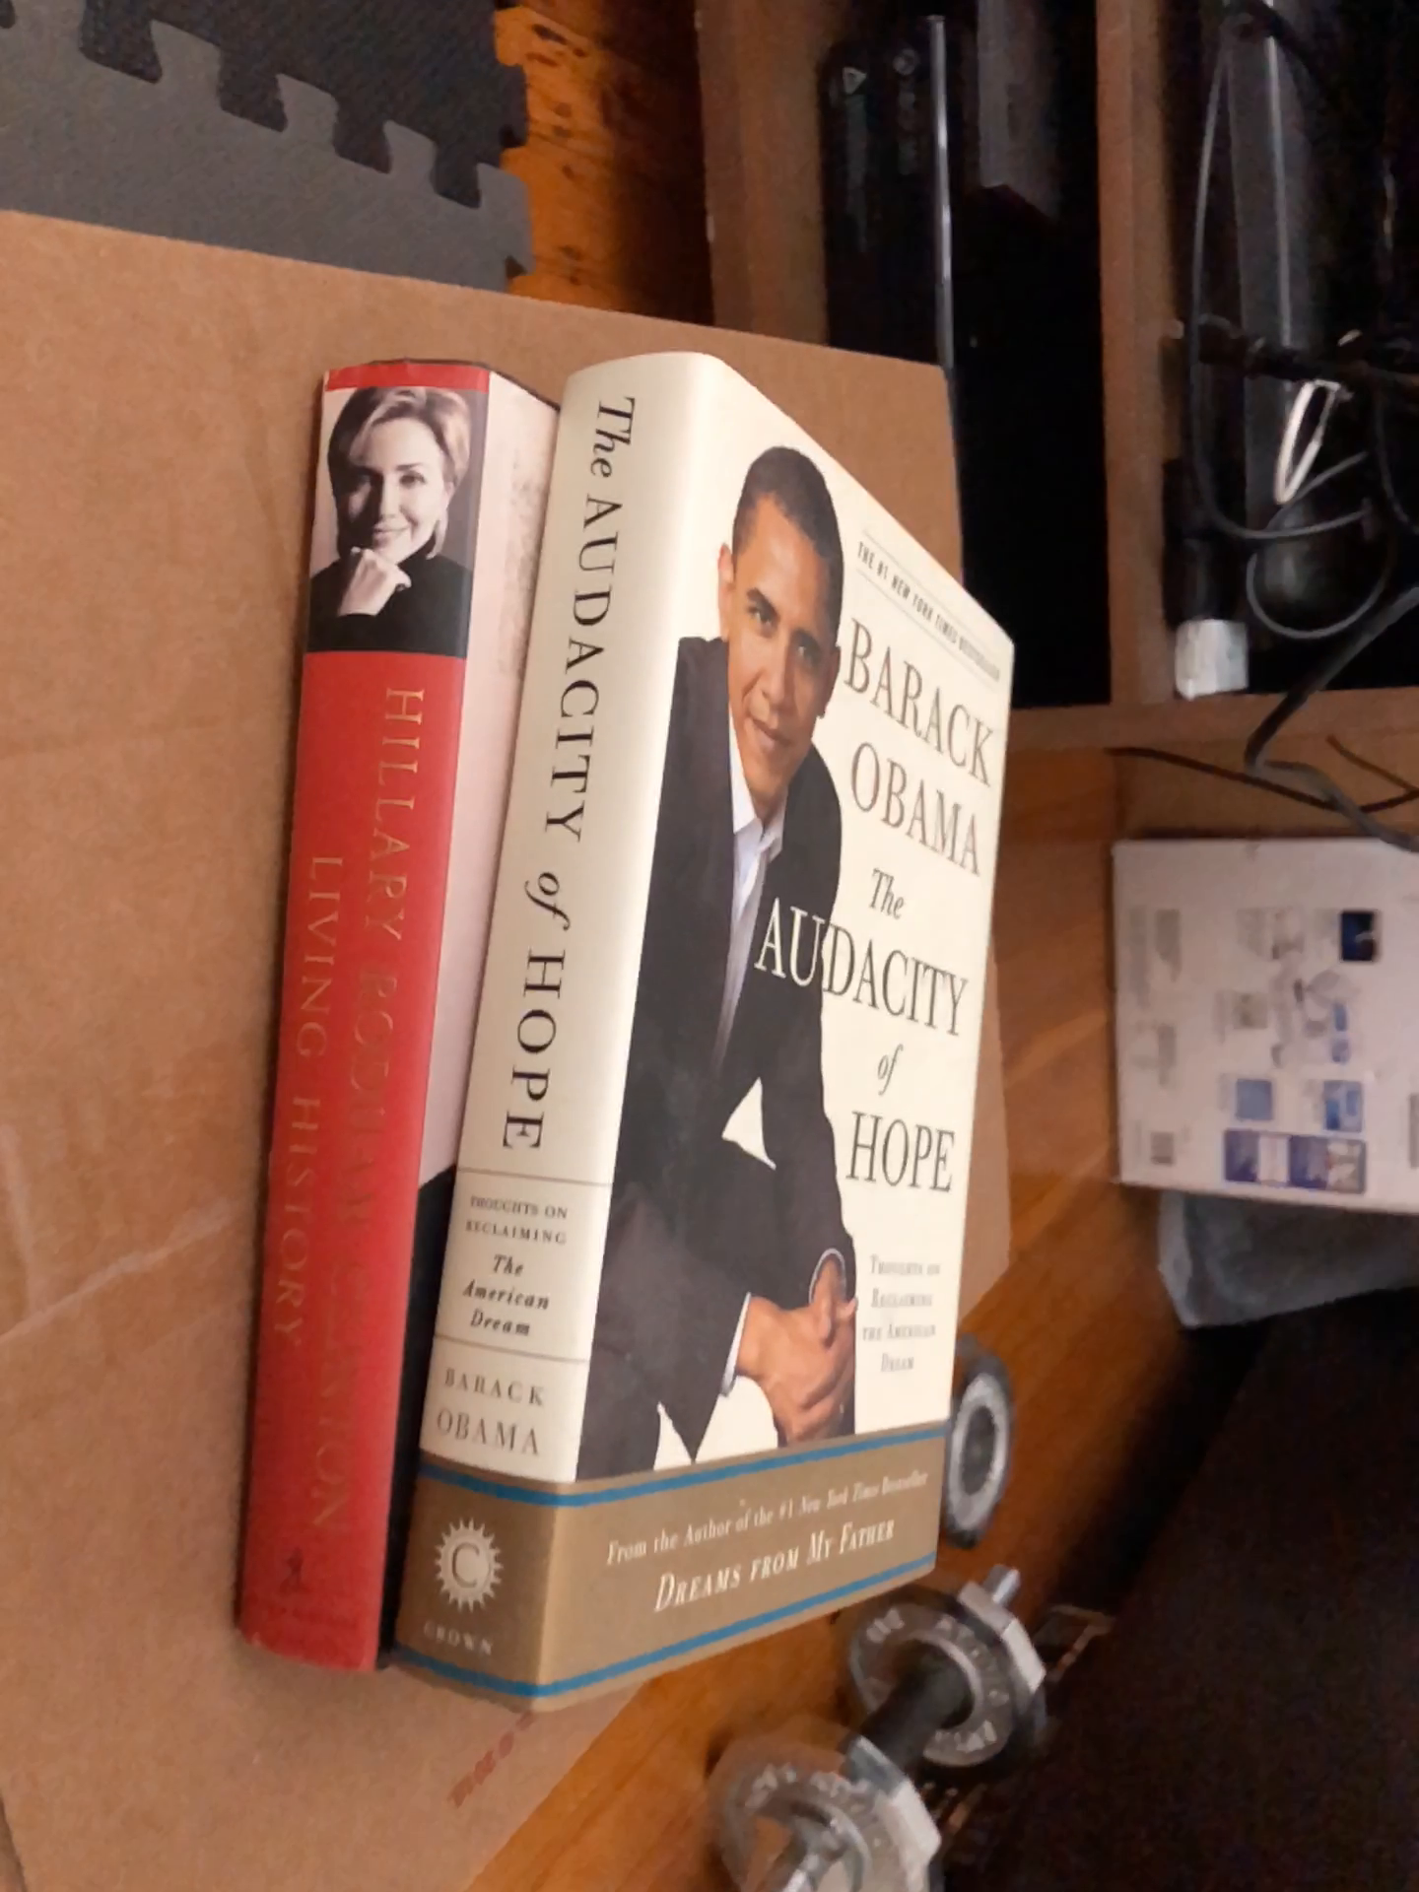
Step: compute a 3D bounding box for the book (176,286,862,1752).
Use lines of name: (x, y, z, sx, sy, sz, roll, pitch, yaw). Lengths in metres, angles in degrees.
book: (-0.027, 0.015, 0.353, 0.171, 0.040, 0.250, 8, 84, -59)

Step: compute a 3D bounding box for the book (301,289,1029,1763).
book: (0.010, 0.022, 0.357, 0.191, 0.040, 0.250, 20, 74, -58)
